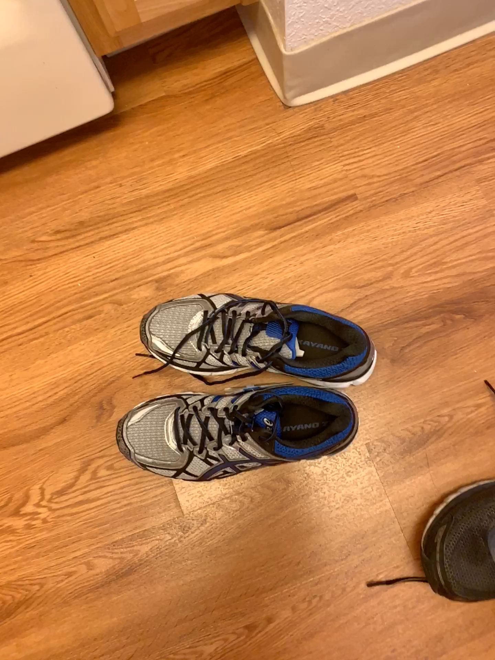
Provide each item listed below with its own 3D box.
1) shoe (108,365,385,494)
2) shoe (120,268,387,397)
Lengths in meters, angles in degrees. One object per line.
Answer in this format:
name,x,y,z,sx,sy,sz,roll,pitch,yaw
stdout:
shoe,-0.002,0.121,0.608,0.290,0.130,0.110,-6,77,4
shoe,0.011,0.007,0.611,0.280,0.130,0.110,5,78,7
